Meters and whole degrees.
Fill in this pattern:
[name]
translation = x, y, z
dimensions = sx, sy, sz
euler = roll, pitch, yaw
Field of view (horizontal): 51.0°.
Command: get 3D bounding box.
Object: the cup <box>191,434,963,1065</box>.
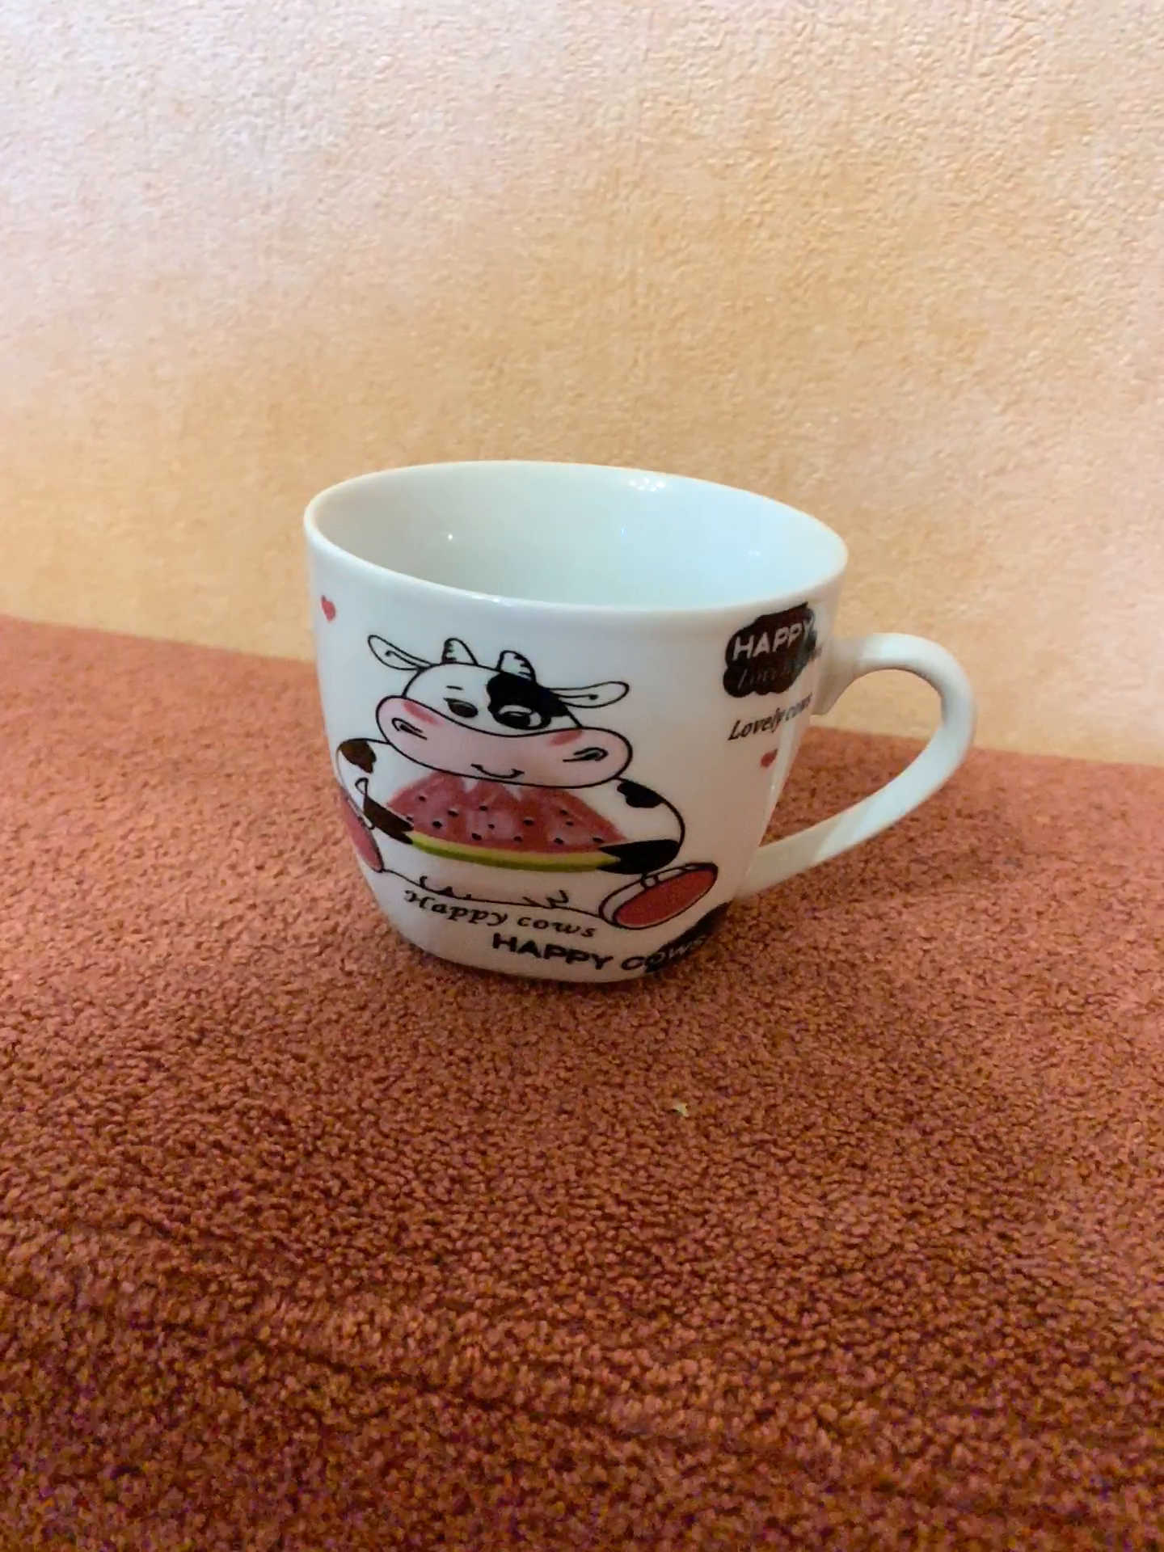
[cup]
translation = 0.005, -0.012, 0.191
dimensions = 0.094, 0.056, 0.079
euler = 10, 28, 13
